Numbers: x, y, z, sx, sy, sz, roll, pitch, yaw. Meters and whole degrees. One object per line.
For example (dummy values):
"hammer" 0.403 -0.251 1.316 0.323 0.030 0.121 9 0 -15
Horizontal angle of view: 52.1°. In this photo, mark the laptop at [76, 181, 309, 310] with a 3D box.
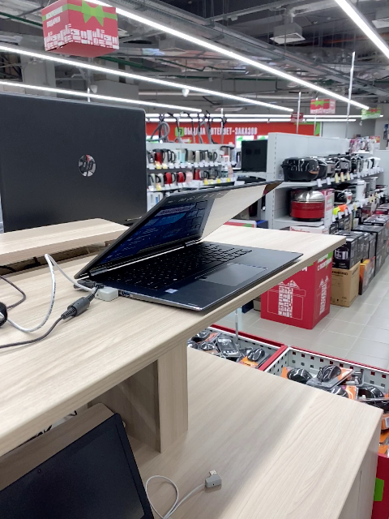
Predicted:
"laptop" 0.016 -0.051 0.636 0.217 0.128 0.320 10 17 35
